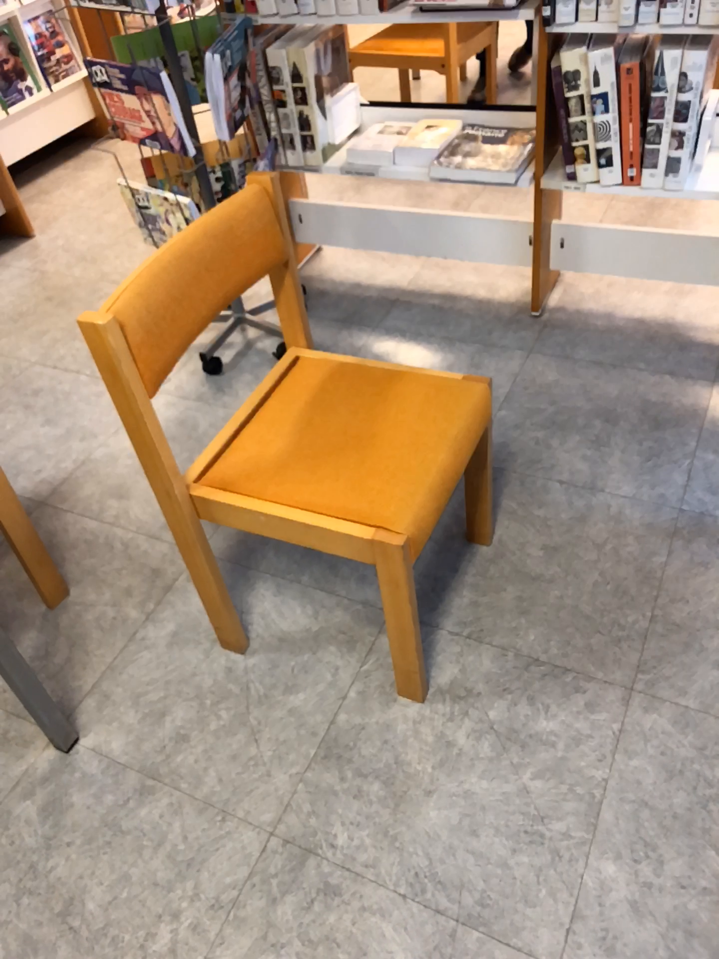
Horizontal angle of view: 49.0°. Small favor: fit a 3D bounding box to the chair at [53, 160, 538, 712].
[{"bbox_3d":[-0.027,-0.091,1.389,0.520,0.696,0.553,13,47,22],"label":"chair"}]
